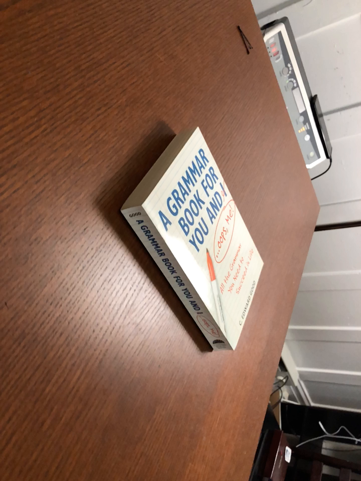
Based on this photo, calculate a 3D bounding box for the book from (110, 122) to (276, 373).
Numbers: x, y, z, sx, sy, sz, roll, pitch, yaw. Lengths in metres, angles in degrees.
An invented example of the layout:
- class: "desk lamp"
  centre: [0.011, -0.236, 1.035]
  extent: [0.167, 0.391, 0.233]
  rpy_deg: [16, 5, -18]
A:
- class: "book"
  centre: [0.037, 0.011, 0.473]
  extent: [0.240, 0.040, 0.171]
  rpy_deg: [59, 41, -30]
